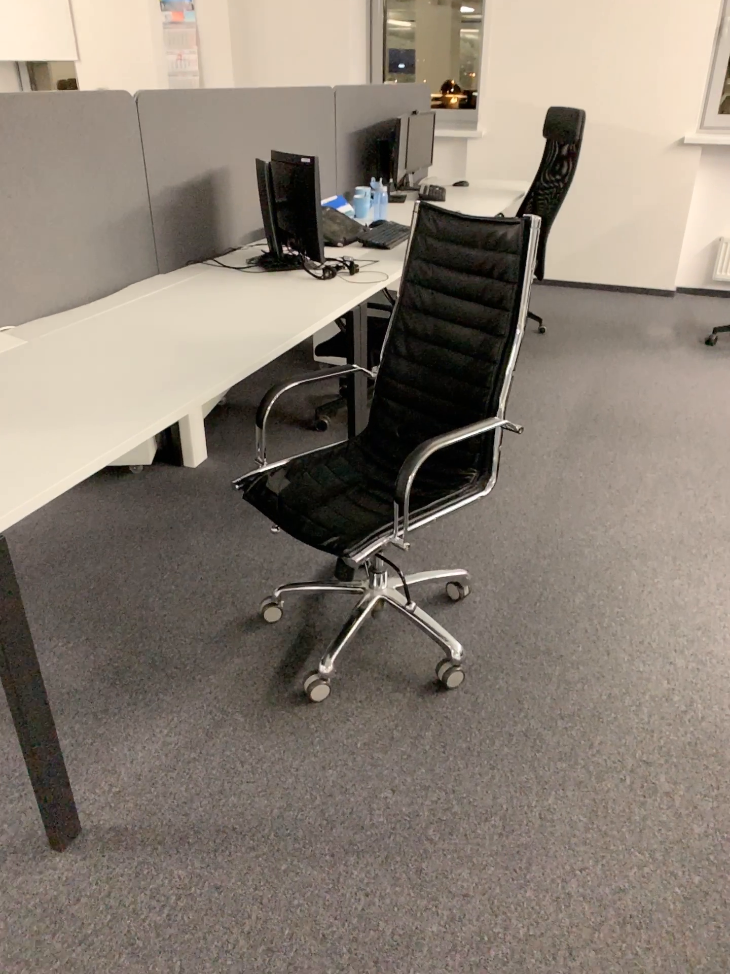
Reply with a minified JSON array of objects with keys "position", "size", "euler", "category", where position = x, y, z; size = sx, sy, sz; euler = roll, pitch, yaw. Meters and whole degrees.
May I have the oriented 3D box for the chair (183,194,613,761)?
[{"position":[0.062,-0.078,1.901],"size":[0.692,1.134,0.642],"euler":[-20,35,-33],"category":"chair"}]
